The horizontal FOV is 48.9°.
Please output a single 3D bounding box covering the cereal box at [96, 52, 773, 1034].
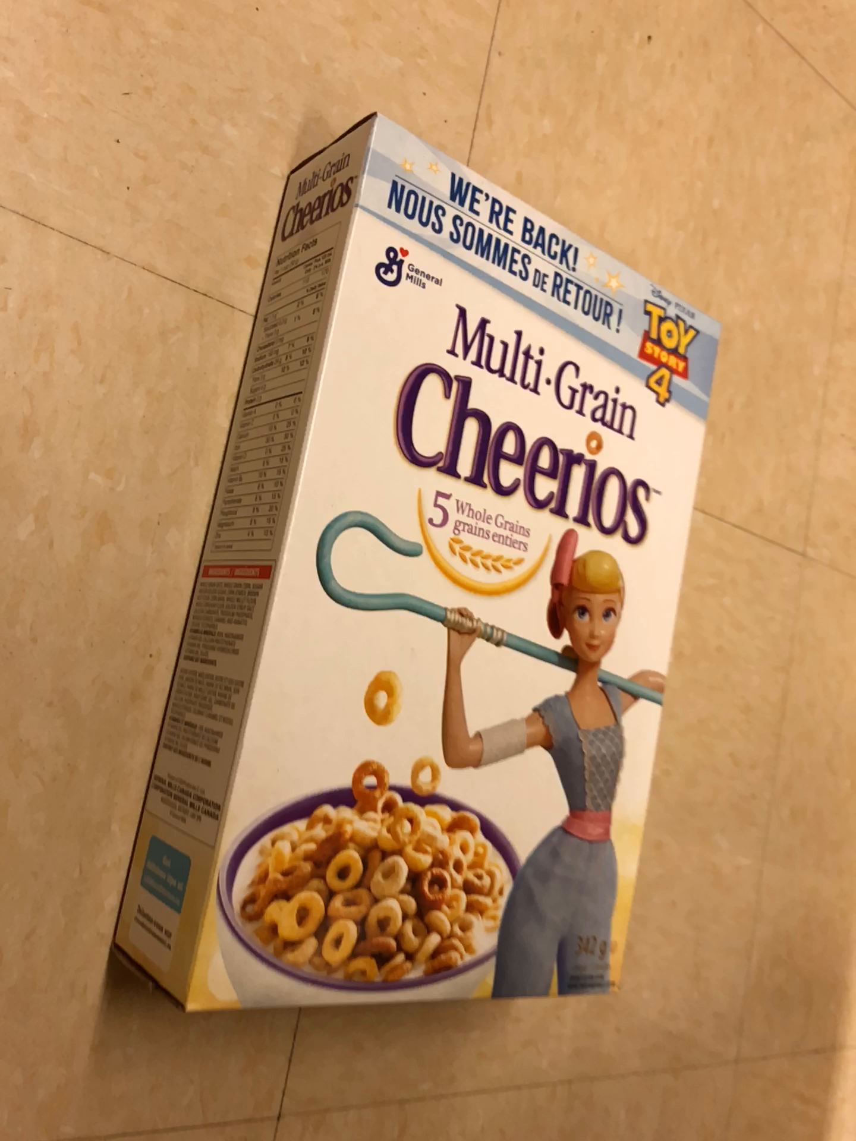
[{"bbox_3d":[0.021,0.005,0.359,0.211,0.070,0.290,16,81,-36],"label":"cereal box"}]
